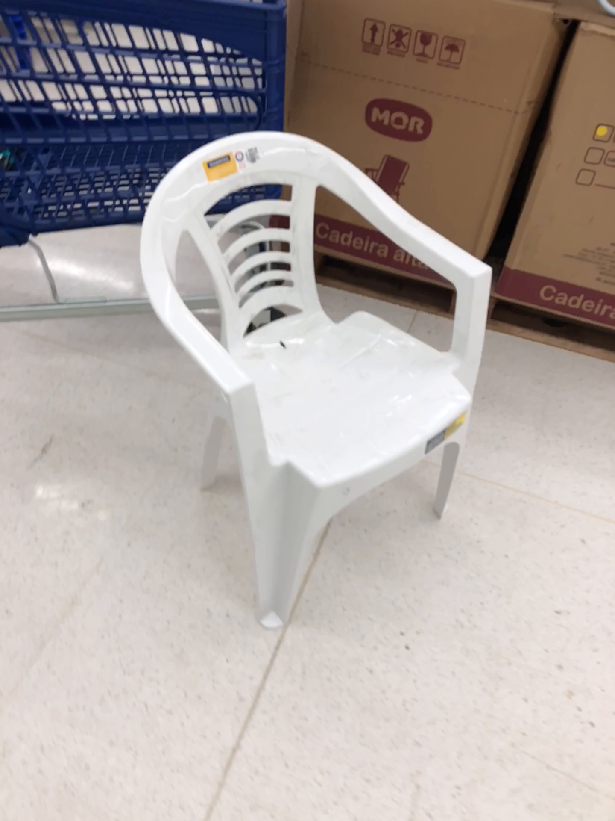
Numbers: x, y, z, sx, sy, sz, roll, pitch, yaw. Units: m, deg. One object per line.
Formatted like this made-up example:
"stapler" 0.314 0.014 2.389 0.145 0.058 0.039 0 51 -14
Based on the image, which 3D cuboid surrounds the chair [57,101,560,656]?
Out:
"chair" -0.021 -0.056 1.217 0.521 0.695 0.502 -29 55 -28
